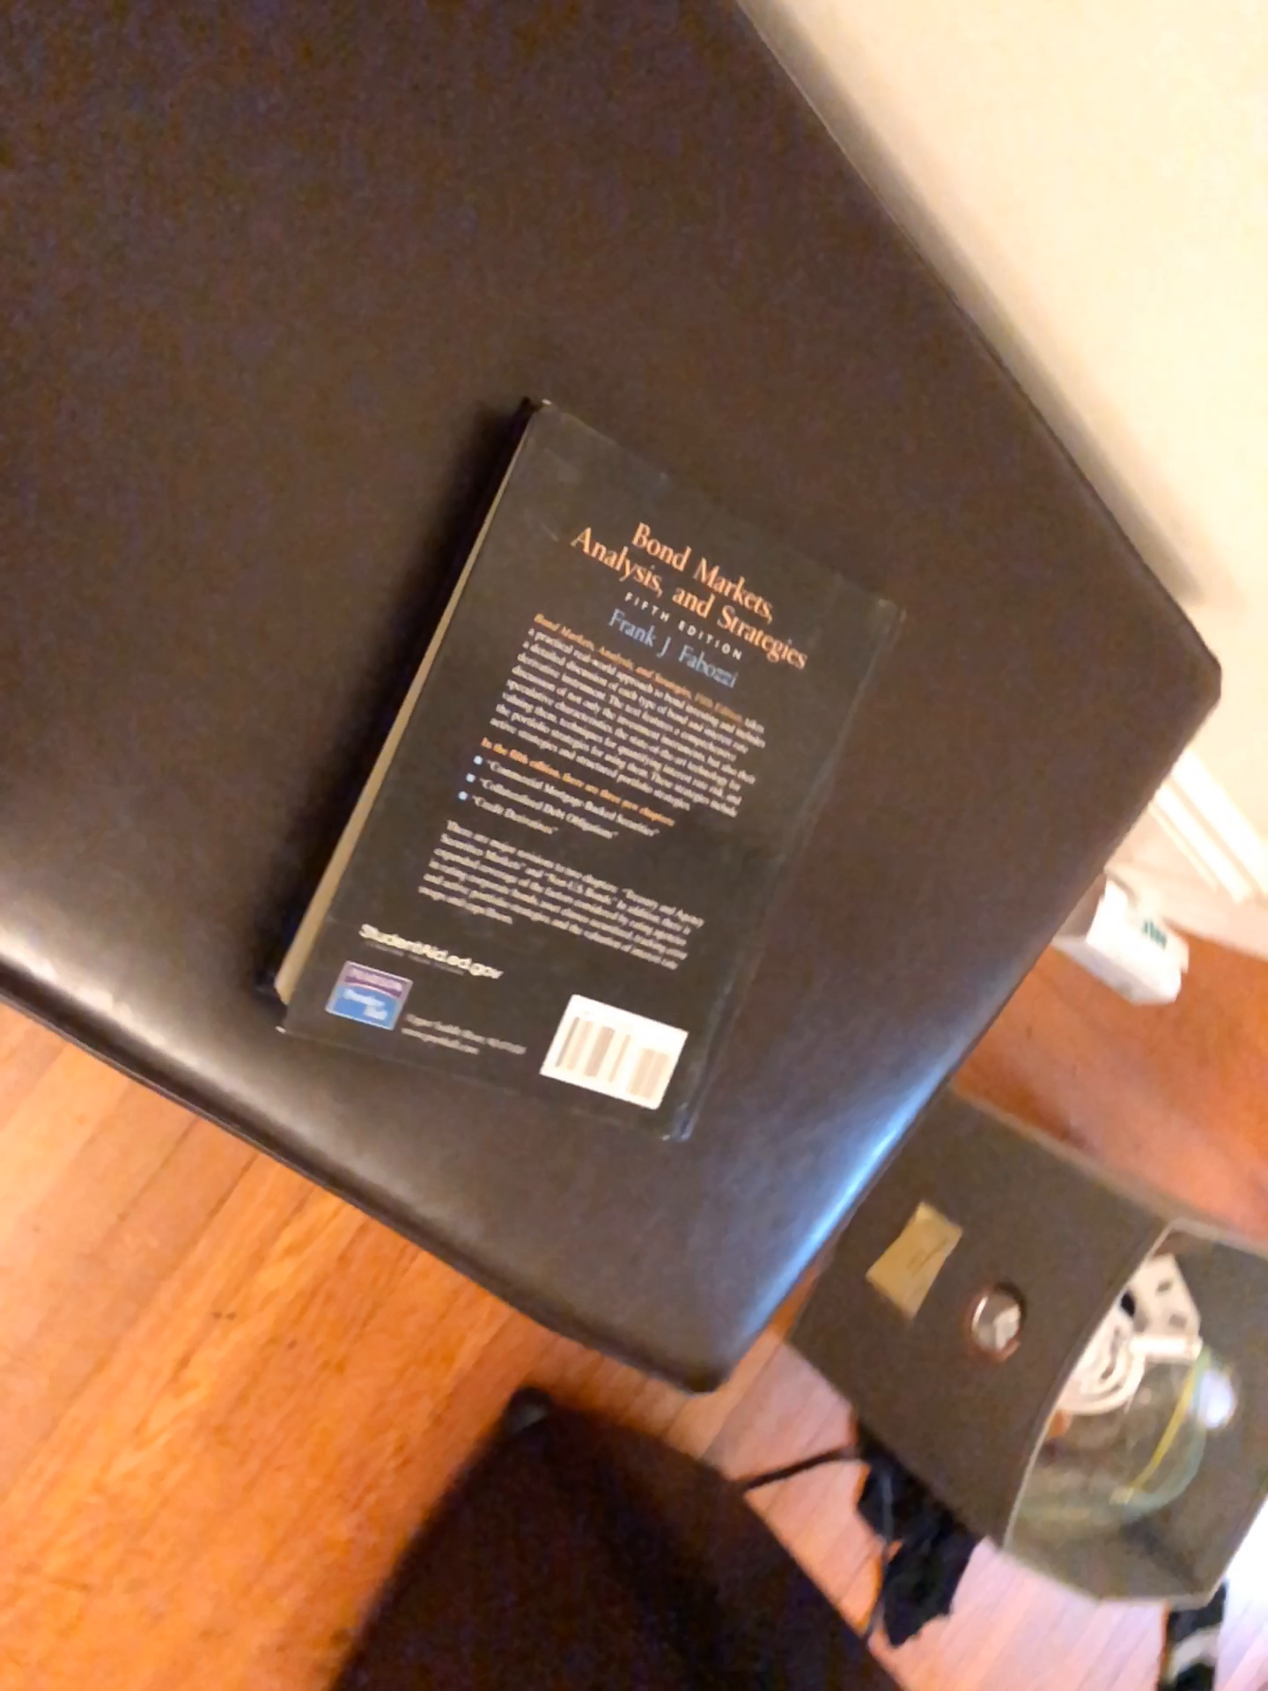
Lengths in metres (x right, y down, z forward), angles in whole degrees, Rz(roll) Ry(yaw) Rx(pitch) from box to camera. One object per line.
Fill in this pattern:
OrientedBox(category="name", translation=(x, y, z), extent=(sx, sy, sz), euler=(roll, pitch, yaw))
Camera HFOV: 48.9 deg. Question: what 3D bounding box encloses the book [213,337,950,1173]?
OrientedBox(category="book", translation=(-0.013, -0.022, 0.538), extent=(0.200, 0.040, 0.260), euler=(23, 92, -30))
